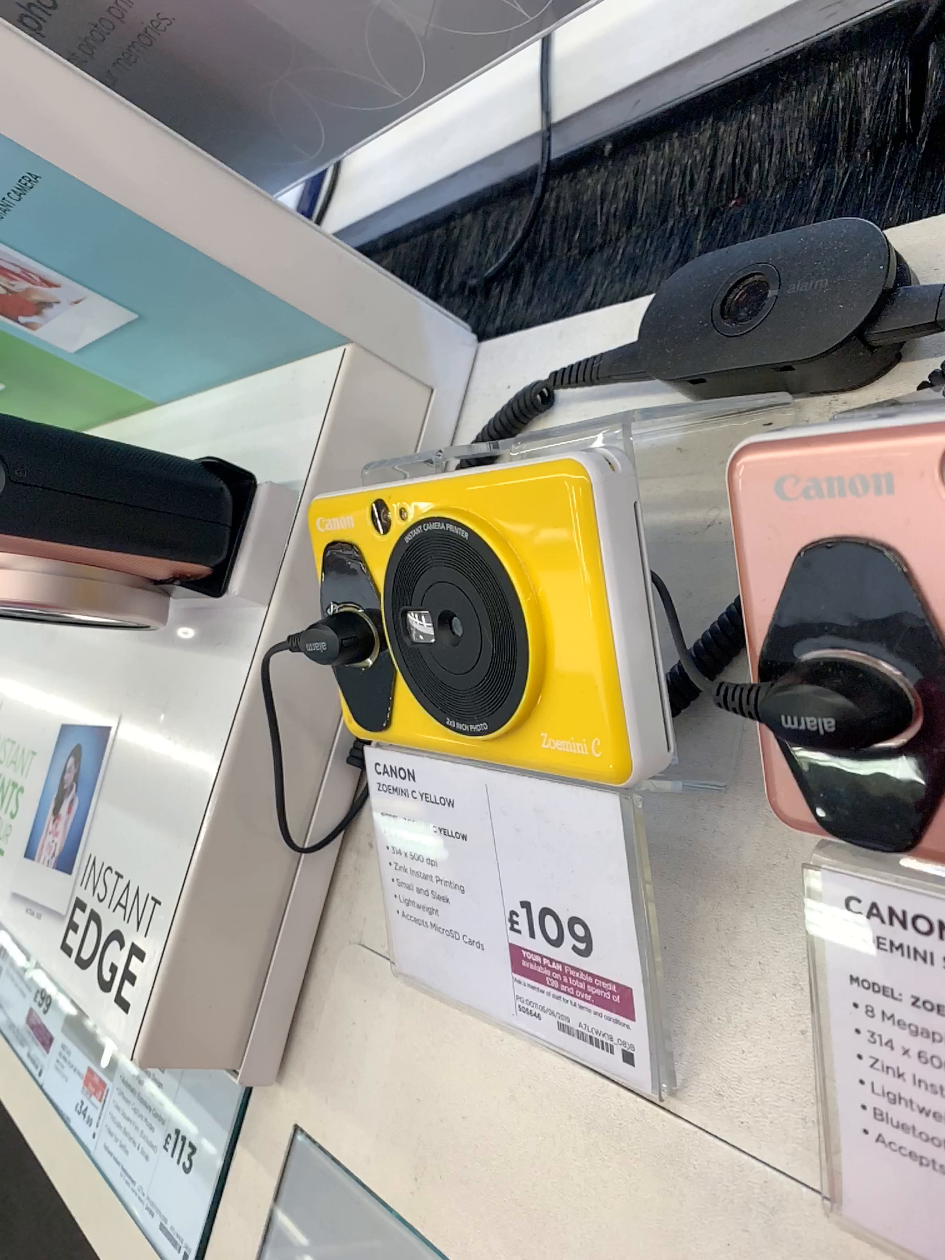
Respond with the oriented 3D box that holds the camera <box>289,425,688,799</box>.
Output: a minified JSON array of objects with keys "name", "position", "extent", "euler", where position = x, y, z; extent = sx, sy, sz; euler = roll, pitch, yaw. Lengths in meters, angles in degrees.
[{"name":"camera","position":[-0.003,-0.005,0.262],"extent":[0.121,0.020,0.080],"euler":[1,104,50]}]
